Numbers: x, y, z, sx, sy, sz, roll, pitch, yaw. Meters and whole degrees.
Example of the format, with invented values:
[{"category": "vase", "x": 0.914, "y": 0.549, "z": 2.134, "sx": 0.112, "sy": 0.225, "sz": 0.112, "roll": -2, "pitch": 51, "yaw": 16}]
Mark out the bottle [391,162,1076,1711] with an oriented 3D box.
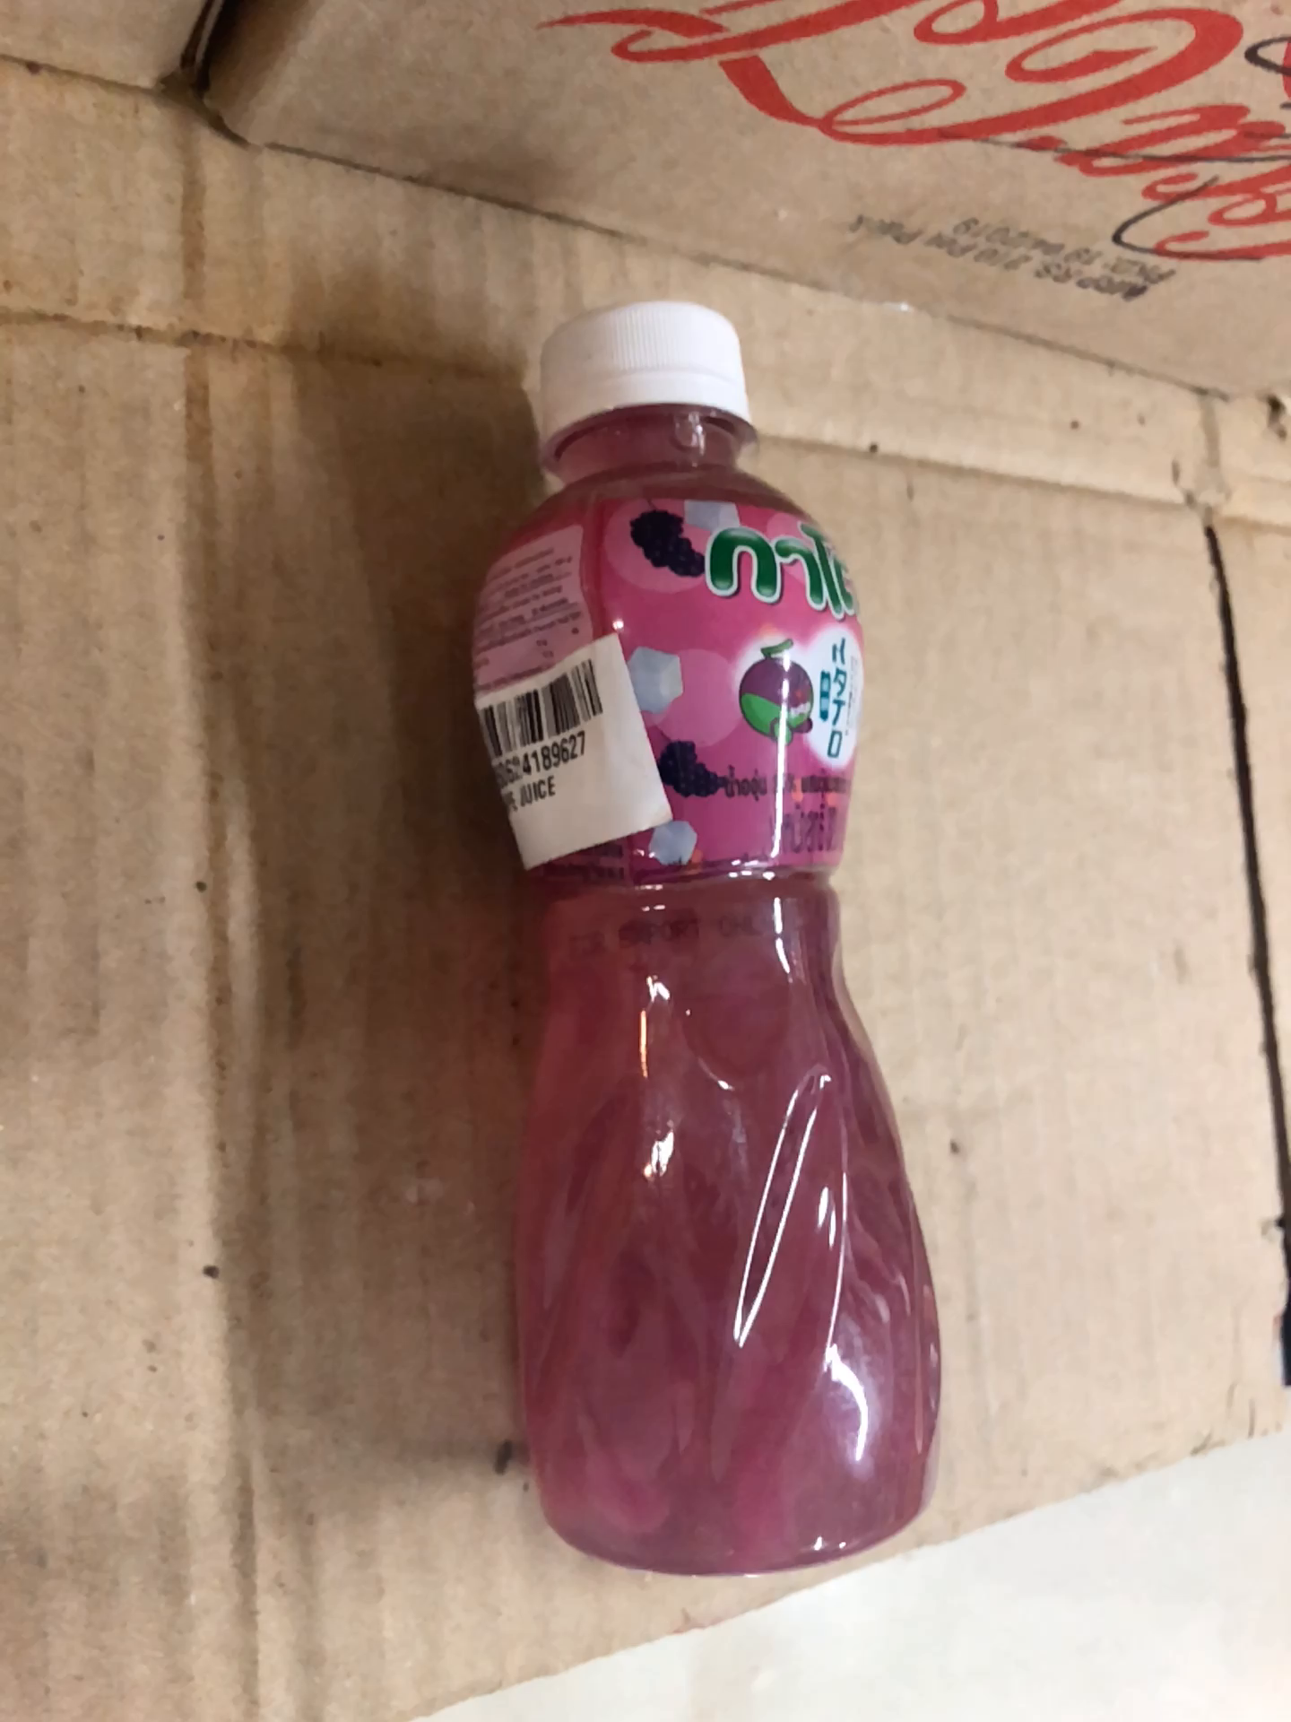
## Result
[{"category": "bottle", "x": 0.010, "y": 0.007, "z": 0.197, "sx": 0.060, "sy": 0.050, "sz": 0.170, "roll": -1, "pitch": 84, "yaw": -39}]
